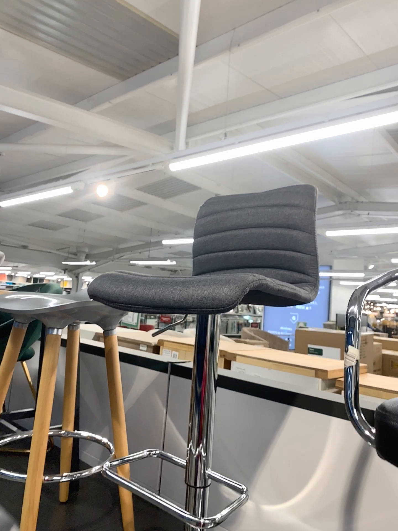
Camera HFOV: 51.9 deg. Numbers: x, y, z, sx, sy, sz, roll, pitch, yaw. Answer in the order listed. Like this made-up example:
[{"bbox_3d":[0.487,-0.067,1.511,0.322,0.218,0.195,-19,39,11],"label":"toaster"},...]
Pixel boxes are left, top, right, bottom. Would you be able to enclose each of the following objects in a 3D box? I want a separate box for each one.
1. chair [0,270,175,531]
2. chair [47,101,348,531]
[{"bbox_3d":[-0.415,0.408,1.199,0.445,0.742,0.451,-1,-9,38],"label":"chair"},{"bbox_3d":[0.036,0.258,0.953,0.445,1.033,0.451,-1,-9,38],"label":"chair"}]
